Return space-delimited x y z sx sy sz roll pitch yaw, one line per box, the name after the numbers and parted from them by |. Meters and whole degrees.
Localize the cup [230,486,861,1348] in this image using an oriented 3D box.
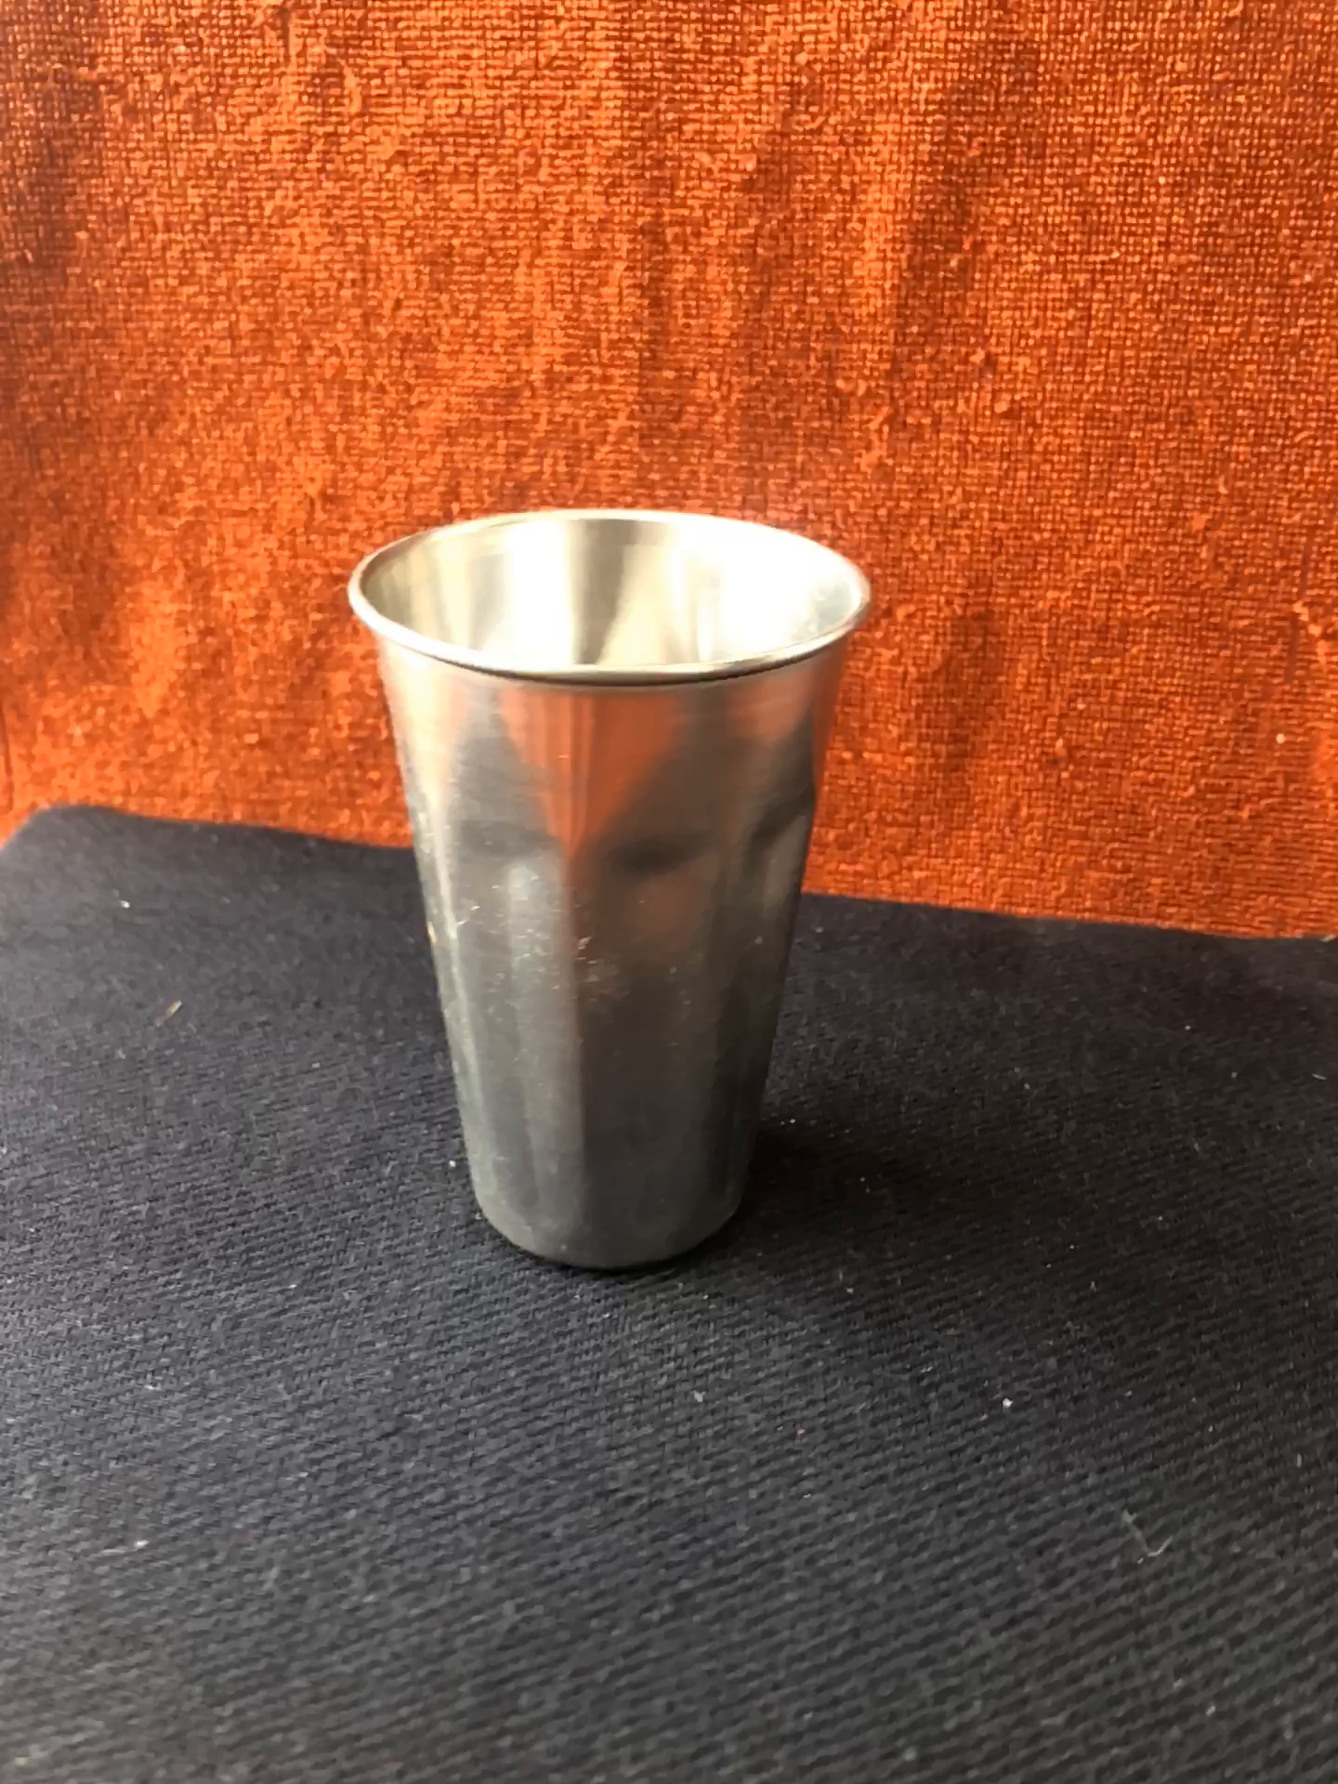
-0.012 0.001 0.220 0.070 0.099 0.070 1 28 -1 | cup
